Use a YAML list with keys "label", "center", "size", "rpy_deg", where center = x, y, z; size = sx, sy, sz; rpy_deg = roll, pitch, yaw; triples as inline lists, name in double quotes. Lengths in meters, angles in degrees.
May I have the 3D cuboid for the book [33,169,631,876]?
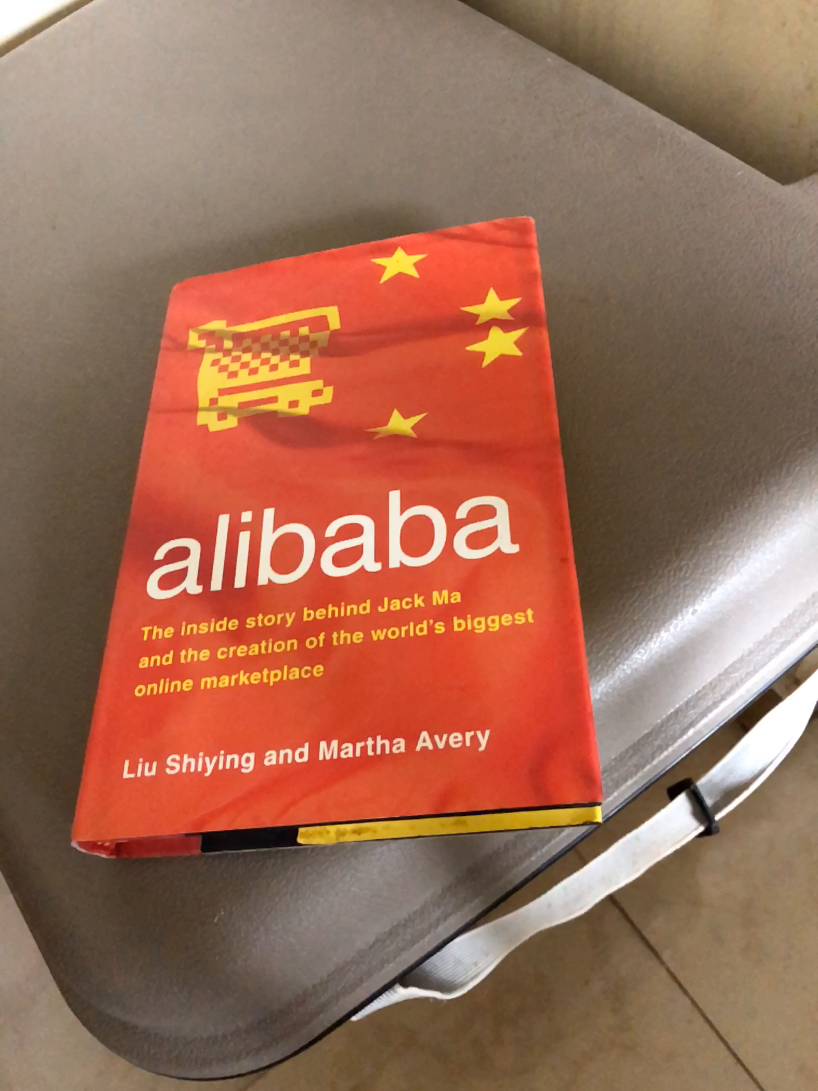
- label: "book"
  center: [-0.024, -0.026, 0.327]
  size: [0.160, 0.040, 0.261]
  rpy_deg: [-6, 57, 6]
